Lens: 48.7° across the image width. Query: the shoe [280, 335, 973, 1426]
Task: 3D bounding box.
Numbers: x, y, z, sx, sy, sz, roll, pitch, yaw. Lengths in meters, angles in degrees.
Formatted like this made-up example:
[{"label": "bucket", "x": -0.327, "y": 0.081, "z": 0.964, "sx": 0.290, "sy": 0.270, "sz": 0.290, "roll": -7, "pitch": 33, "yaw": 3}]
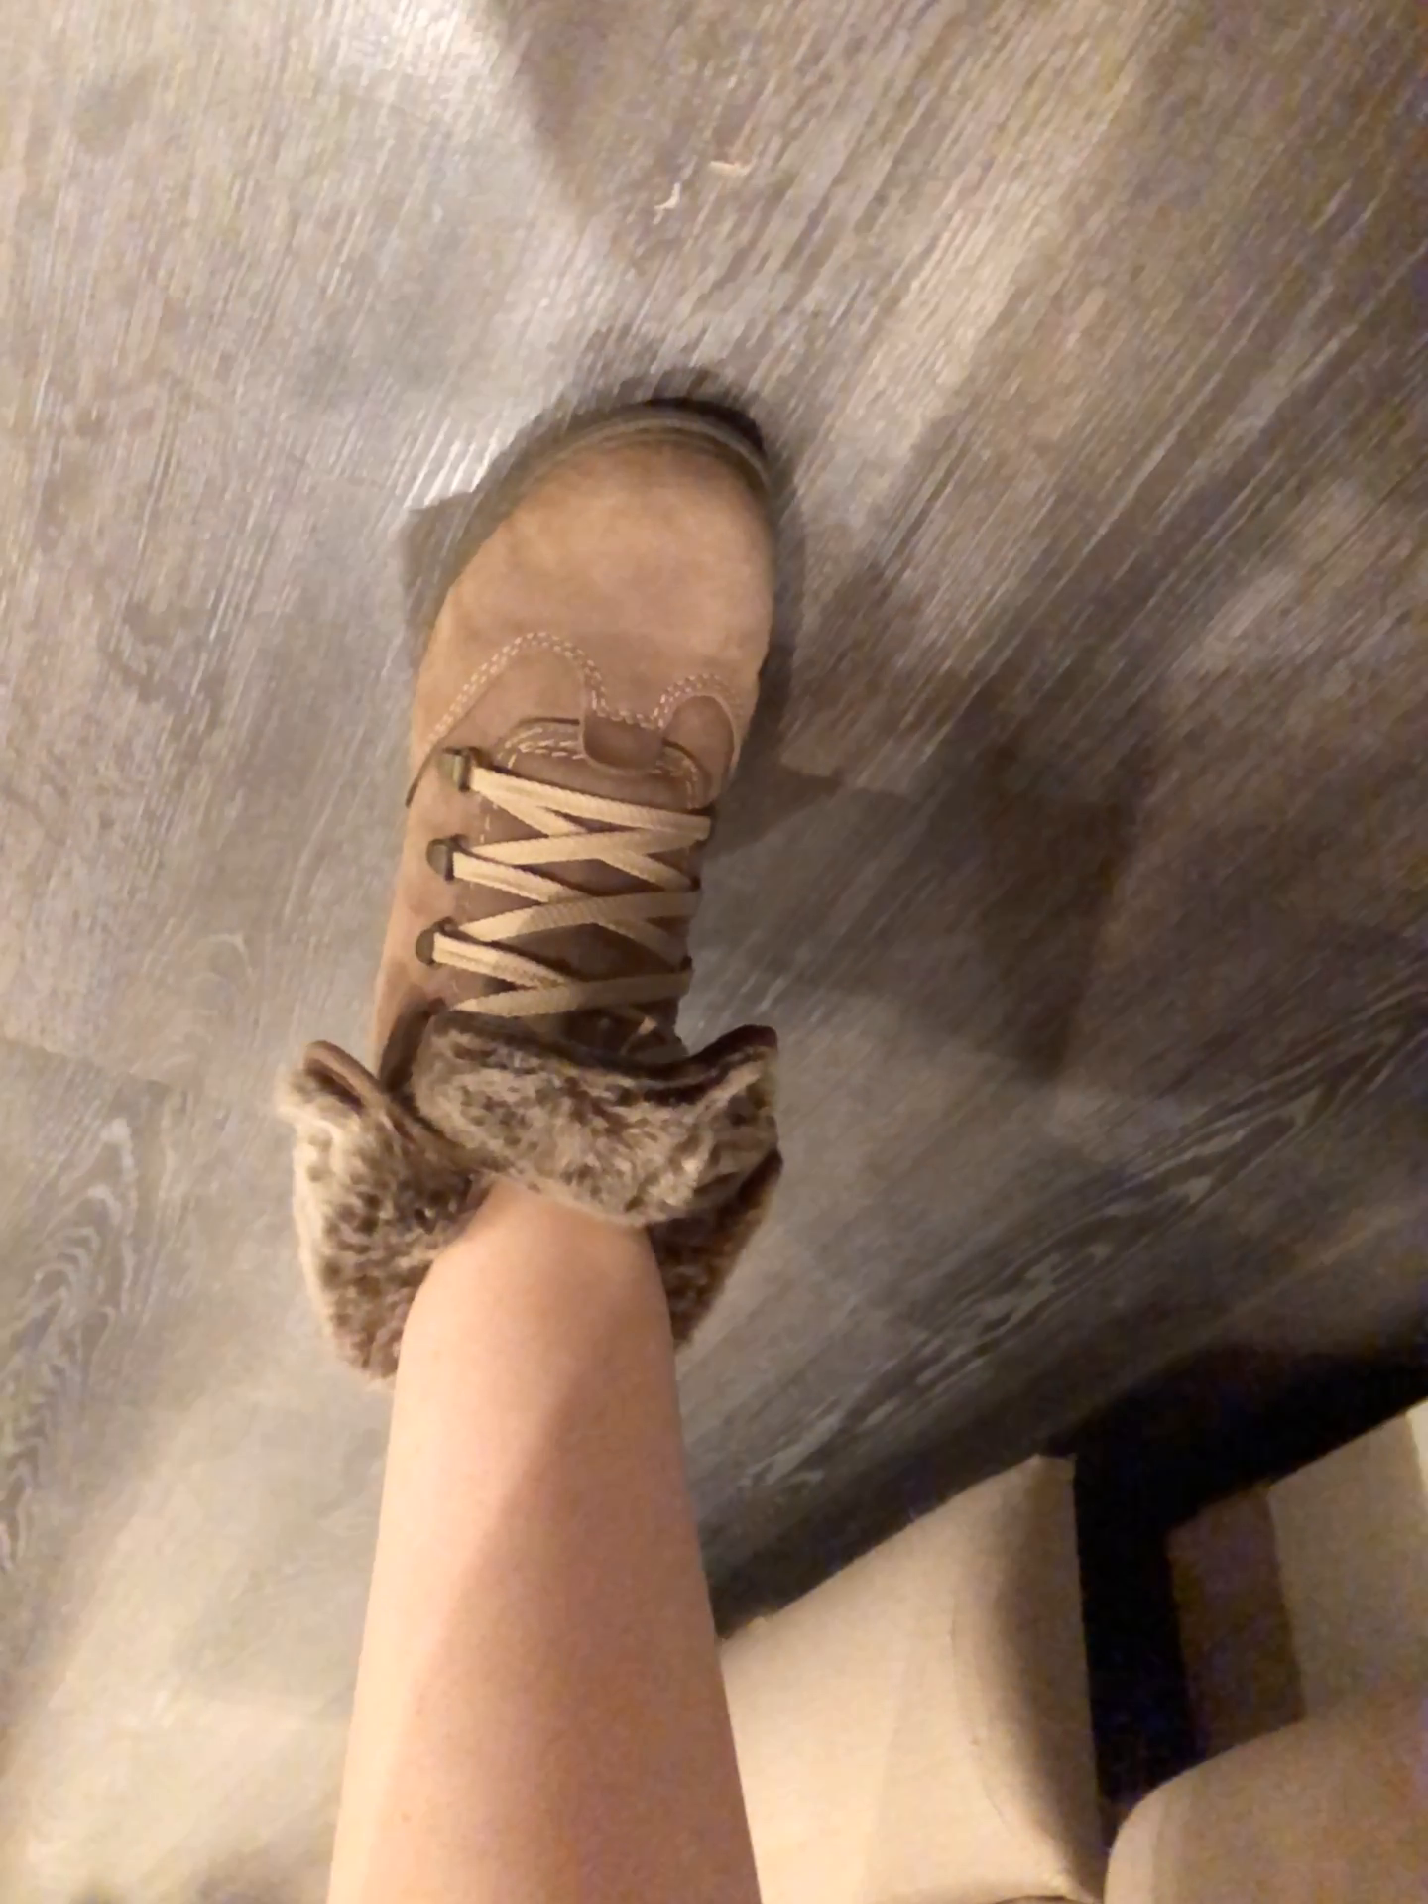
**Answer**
[{"label": "shoe", "x": -0.037, "y": -0.001, "z": 0.431, "sx": 0.120, "sy": 0.149, "sz": 0.251, "roll": 10, "pitch": 138, "yaw": -9}]
